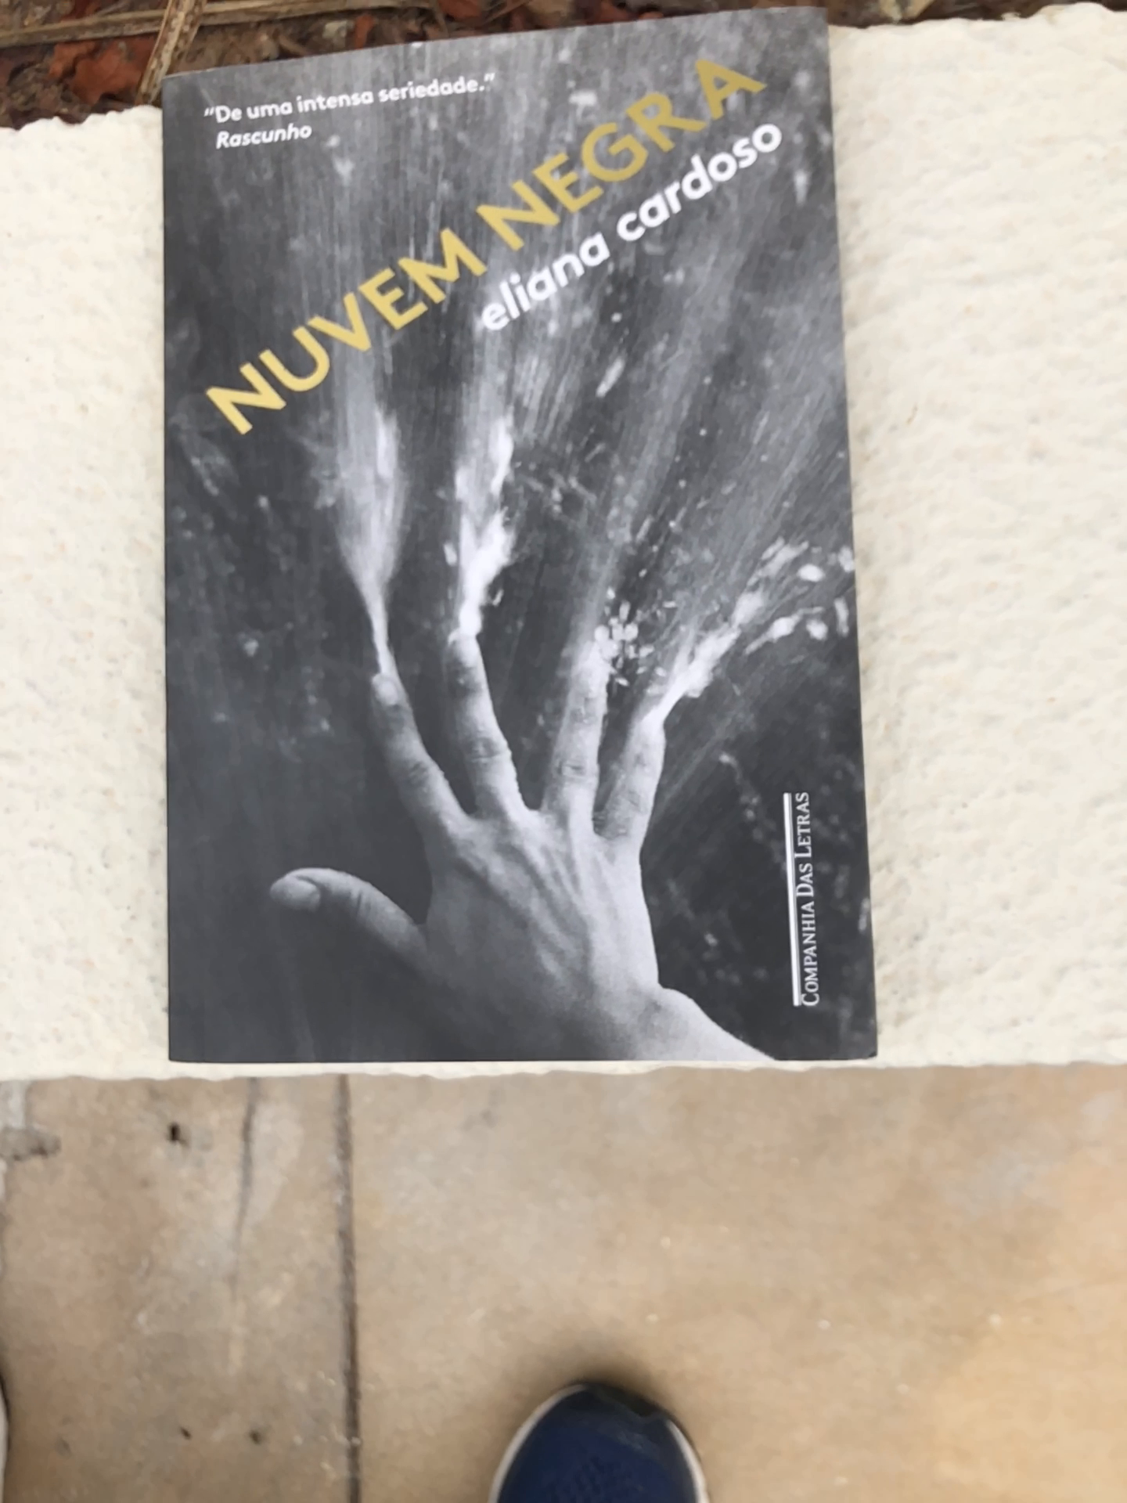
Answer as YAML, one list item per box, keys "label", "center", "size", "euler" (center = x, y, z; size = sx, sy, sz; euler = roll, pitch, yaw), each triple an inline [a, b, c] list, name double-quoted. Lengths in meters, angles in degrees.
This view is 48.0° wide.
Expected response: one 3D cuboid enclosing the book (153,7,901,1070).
- label: "book"
  center: [-0.010, -0.040, 0.249]
  size: [0.140, 0.013, 0.200]
  euler: [-2, 87, 5]
